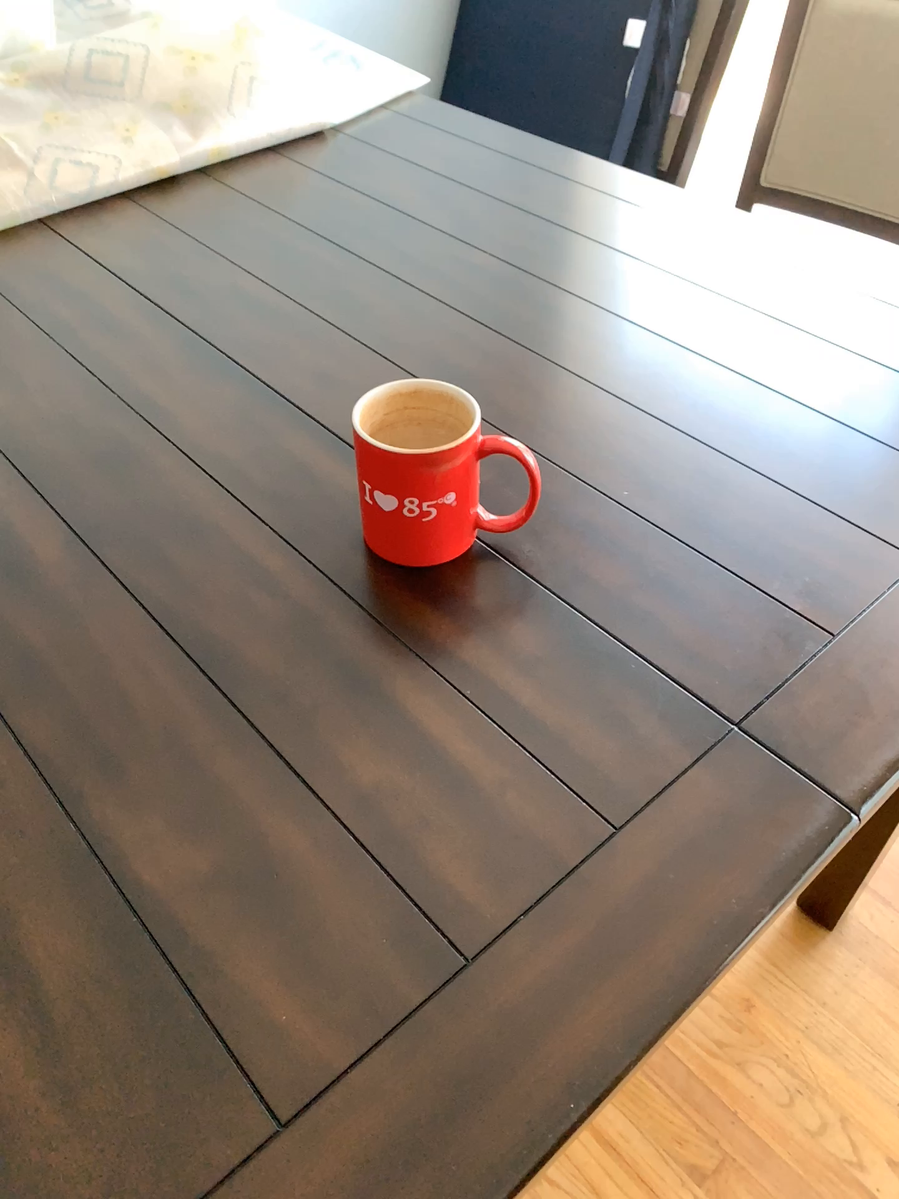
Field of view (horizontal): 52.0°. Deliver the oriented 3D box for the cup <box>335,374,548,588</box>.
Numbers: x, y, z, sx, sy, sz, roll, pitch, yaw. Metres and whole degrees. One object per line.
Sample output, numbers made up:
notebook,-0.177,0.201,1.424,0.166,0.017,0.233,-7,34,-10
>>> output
cup,-0.002,-0.075,0.586,0.120,0.100,0.080,4,45,4
